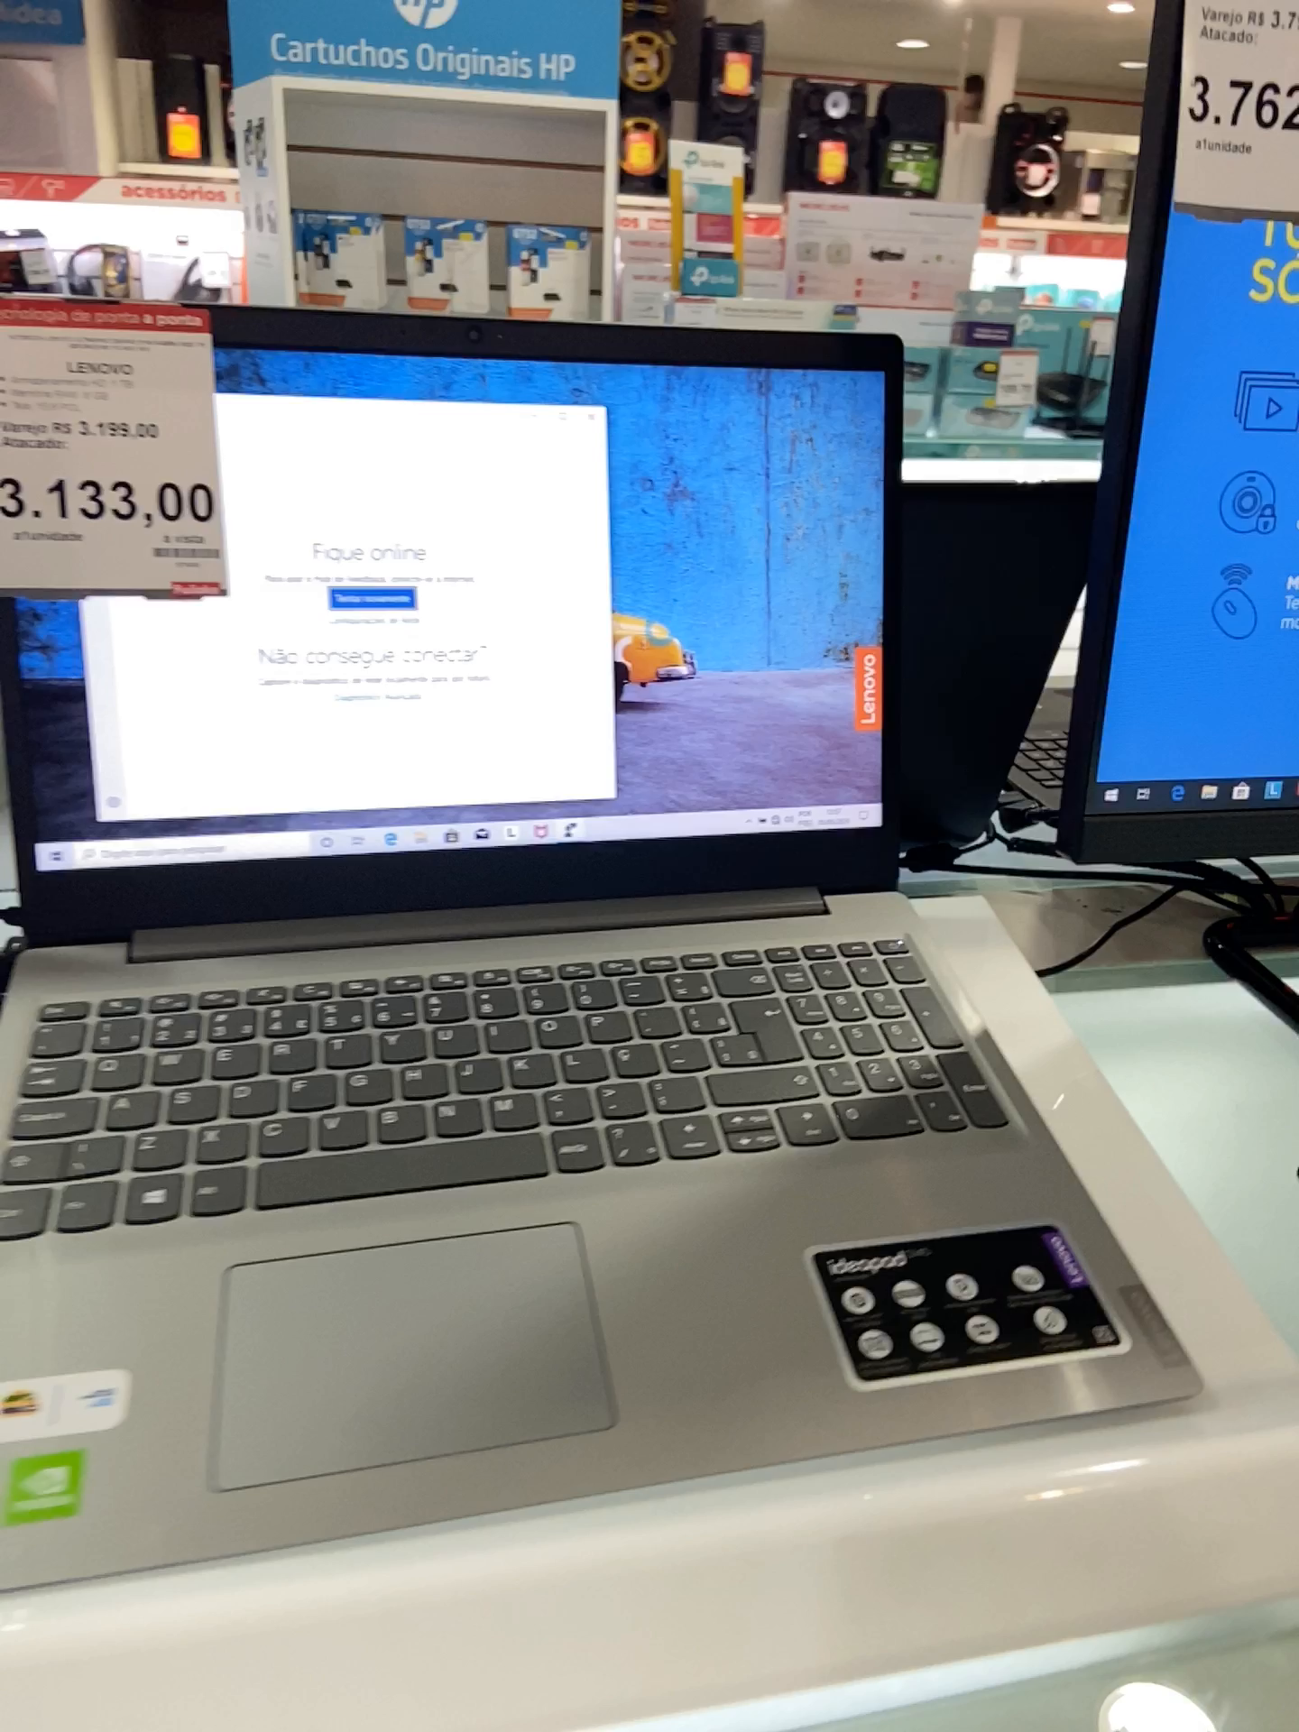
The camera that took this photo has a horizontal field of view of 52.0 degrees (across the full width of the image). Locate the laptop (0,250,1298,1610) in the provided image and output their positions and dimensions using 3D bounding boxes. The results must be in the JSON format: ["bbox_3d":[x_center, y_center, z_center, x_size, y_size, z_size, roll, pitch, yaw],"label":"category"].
[{"bbox_3d":[-0.045,-0.041,0.451,0.363,0.224,0.361,-3,32,-13],"label":"laptop"}]
